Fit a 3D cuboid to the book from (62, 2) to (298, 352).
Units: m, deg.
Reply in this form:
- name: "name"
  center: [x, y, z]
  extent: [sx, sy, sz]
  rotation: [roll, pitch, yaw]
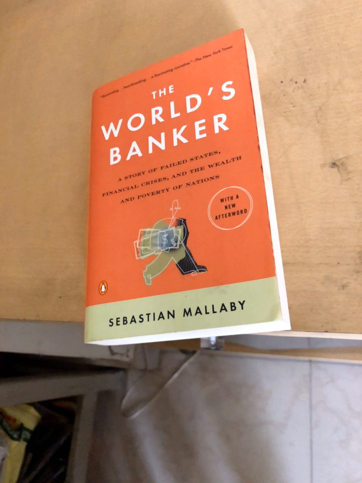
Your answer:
- name: "book"
  center: [-0.008, -0.043, 0.278]
  extent: [0.140, 0.030, 0.220]
  rotation: [-11, 68, 22]
